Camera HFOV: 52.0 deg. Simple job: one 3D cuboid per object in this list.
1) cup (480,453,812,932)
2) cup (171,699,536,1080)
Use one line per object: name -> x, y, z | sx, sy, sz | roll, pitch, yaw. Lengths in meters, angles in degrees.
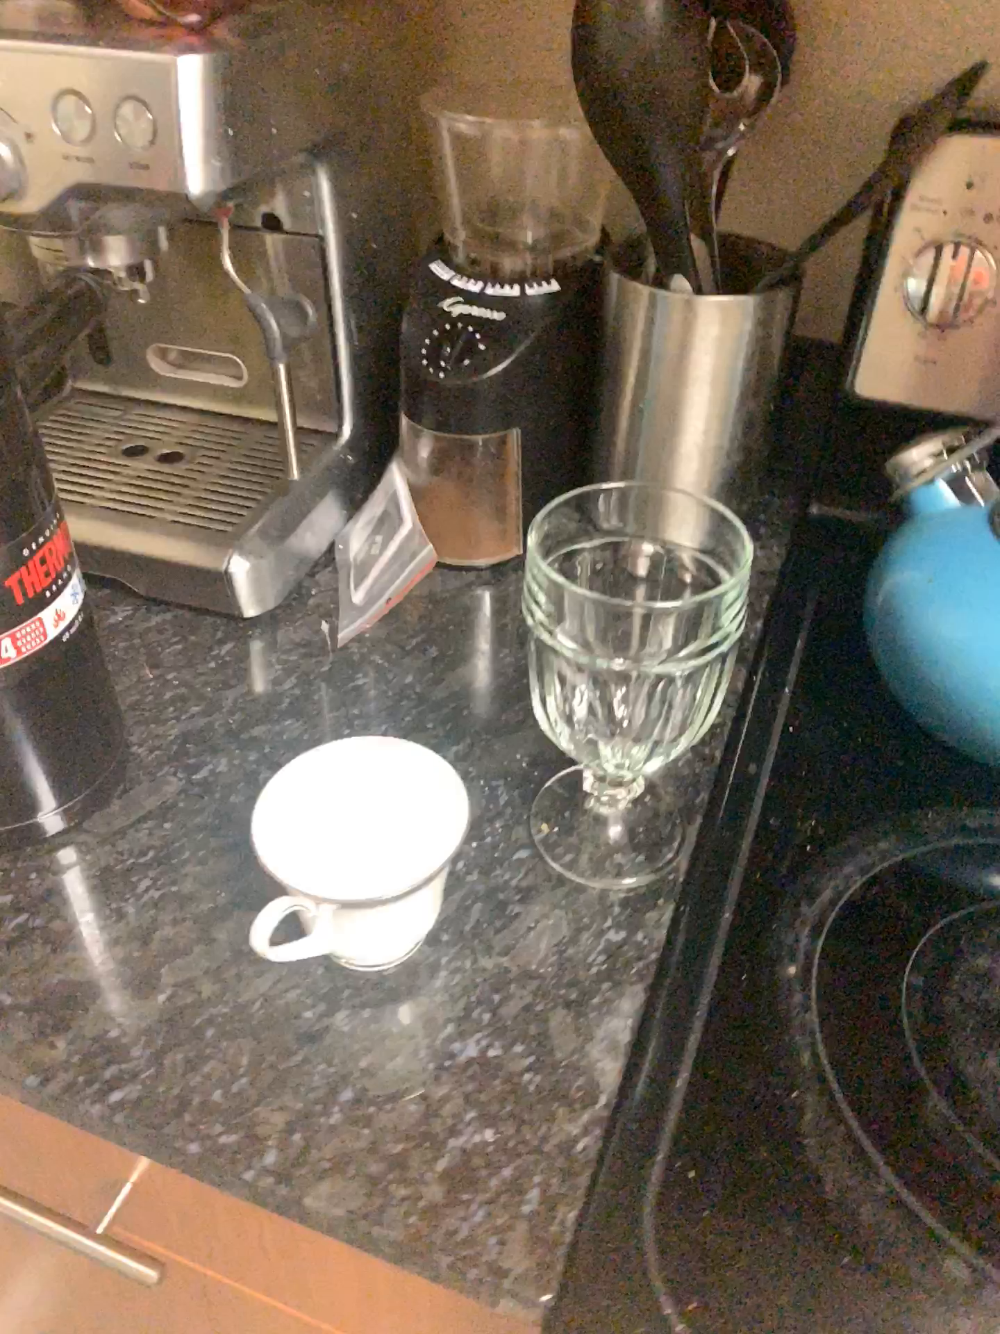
cup -> 0.062, 0.011, 0.481 | 0.100, 0.169, 0.110 | 22, 44, 24
cup -> -0.057, 0.088, 0.437 | 0.100, 0.070, 0.110 | 22, 44, 24
